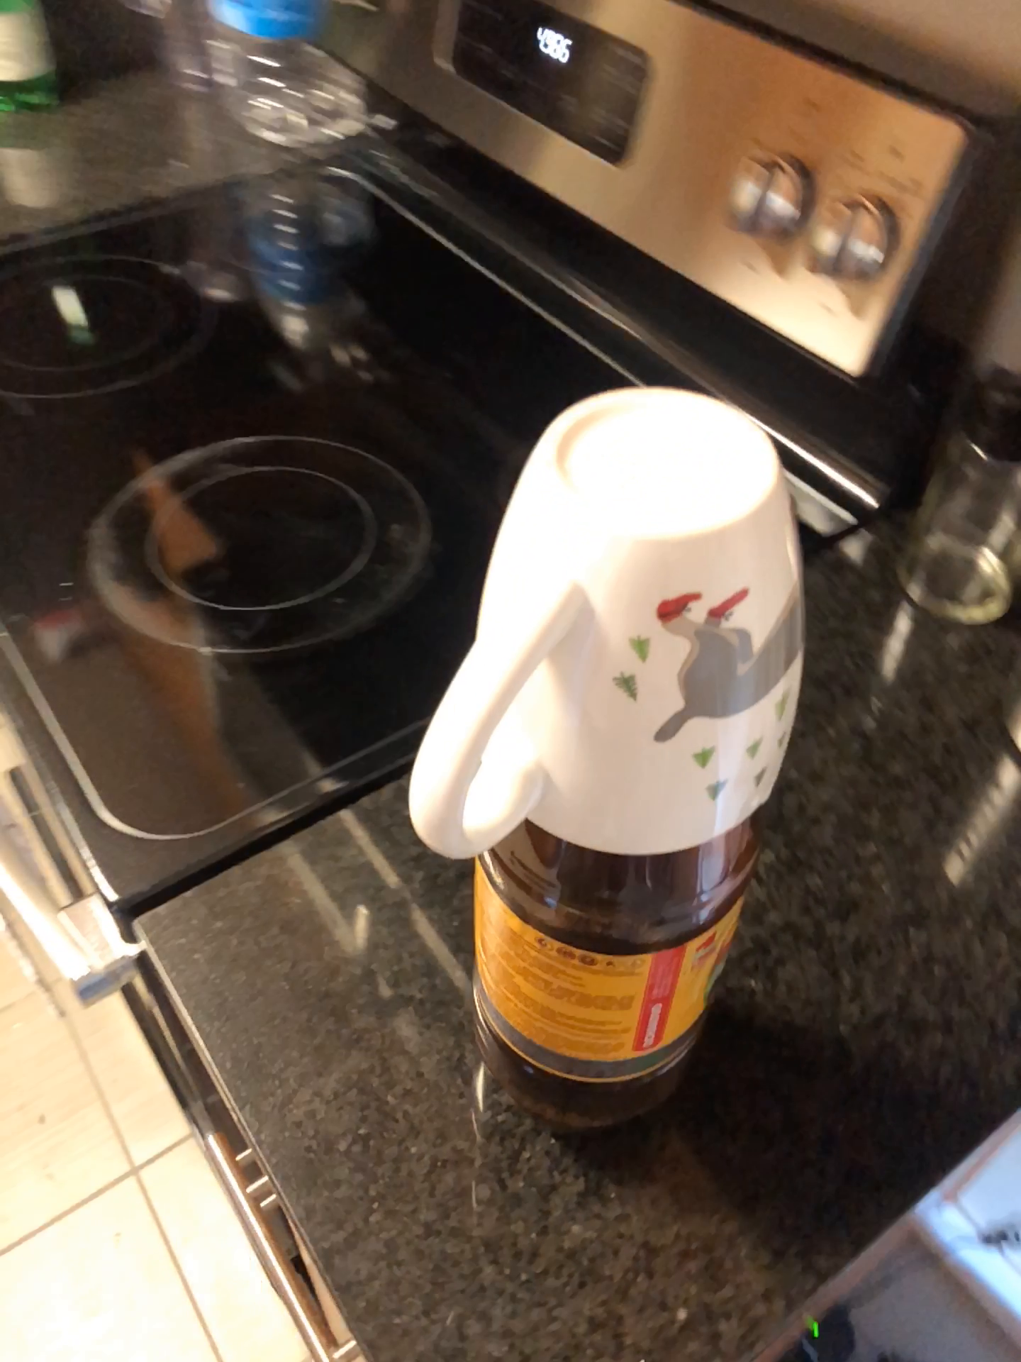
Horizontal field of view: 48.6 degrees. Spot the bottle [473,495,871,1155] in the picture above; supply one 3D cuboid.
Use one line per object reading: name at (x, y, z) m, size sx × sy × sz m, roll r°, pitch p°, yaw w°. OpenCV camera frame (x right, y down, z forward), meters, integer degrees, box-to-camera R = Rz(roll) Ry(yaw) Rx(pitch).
bottle at (0.038, 0.074, 0.428) m, size 0.100 × 0.279 × 0.100 m, roll 1°, pitch 47°, yaw -1°
